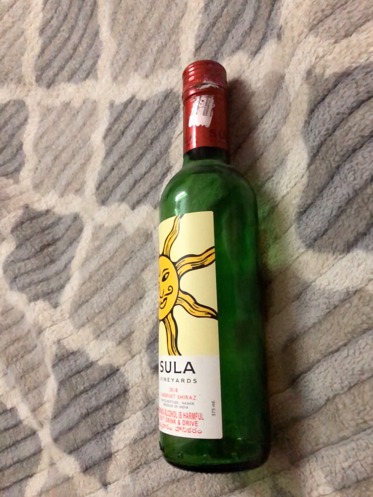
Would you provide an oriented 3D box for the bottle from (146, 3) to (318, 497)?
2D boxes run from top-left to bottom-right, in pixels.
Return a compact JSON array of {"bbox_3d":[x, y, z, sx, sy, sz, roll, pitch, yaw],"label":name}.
[{"bbox_3d":[0.018,0.000,0.220,0.060,0.050,0.230,-14,75,48],"label":"bottle"}]
